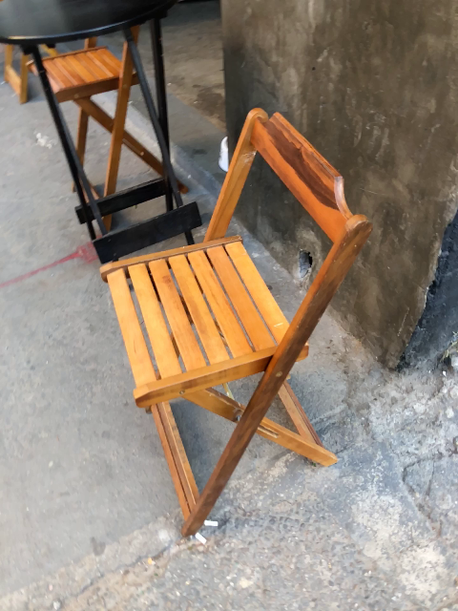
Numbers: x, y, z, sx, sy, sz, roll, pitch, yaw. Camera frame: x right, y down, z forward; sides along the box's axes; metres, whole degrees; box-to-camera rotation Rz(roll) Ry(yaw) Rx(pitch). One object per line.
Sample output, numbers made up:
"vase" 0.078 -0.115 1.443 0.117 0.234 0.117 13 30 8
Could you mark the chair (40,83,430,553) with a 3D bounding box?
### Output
"chair" -0.016 0.066 1.120 0.500 0.854 0.483 -16 46 -13
